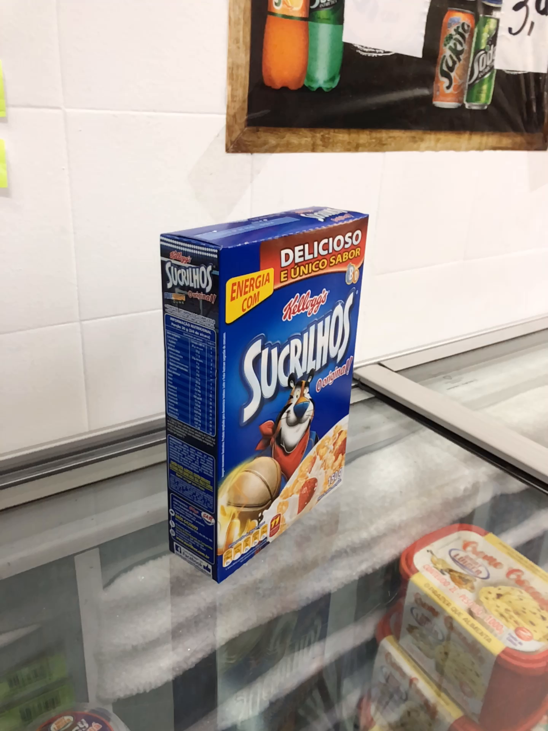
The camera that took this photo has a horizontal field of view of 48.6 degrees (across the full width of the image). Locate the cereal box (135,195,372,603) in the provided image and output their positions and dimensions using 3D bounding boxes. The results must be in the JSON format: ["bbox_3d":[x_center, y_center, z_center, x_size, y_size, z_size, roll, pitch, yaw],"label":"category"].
[{"bbox_3d":[-0.008,0.011,0.359,0.050,0.199,0.141,18,27,31],"label":"cereal box"}]
